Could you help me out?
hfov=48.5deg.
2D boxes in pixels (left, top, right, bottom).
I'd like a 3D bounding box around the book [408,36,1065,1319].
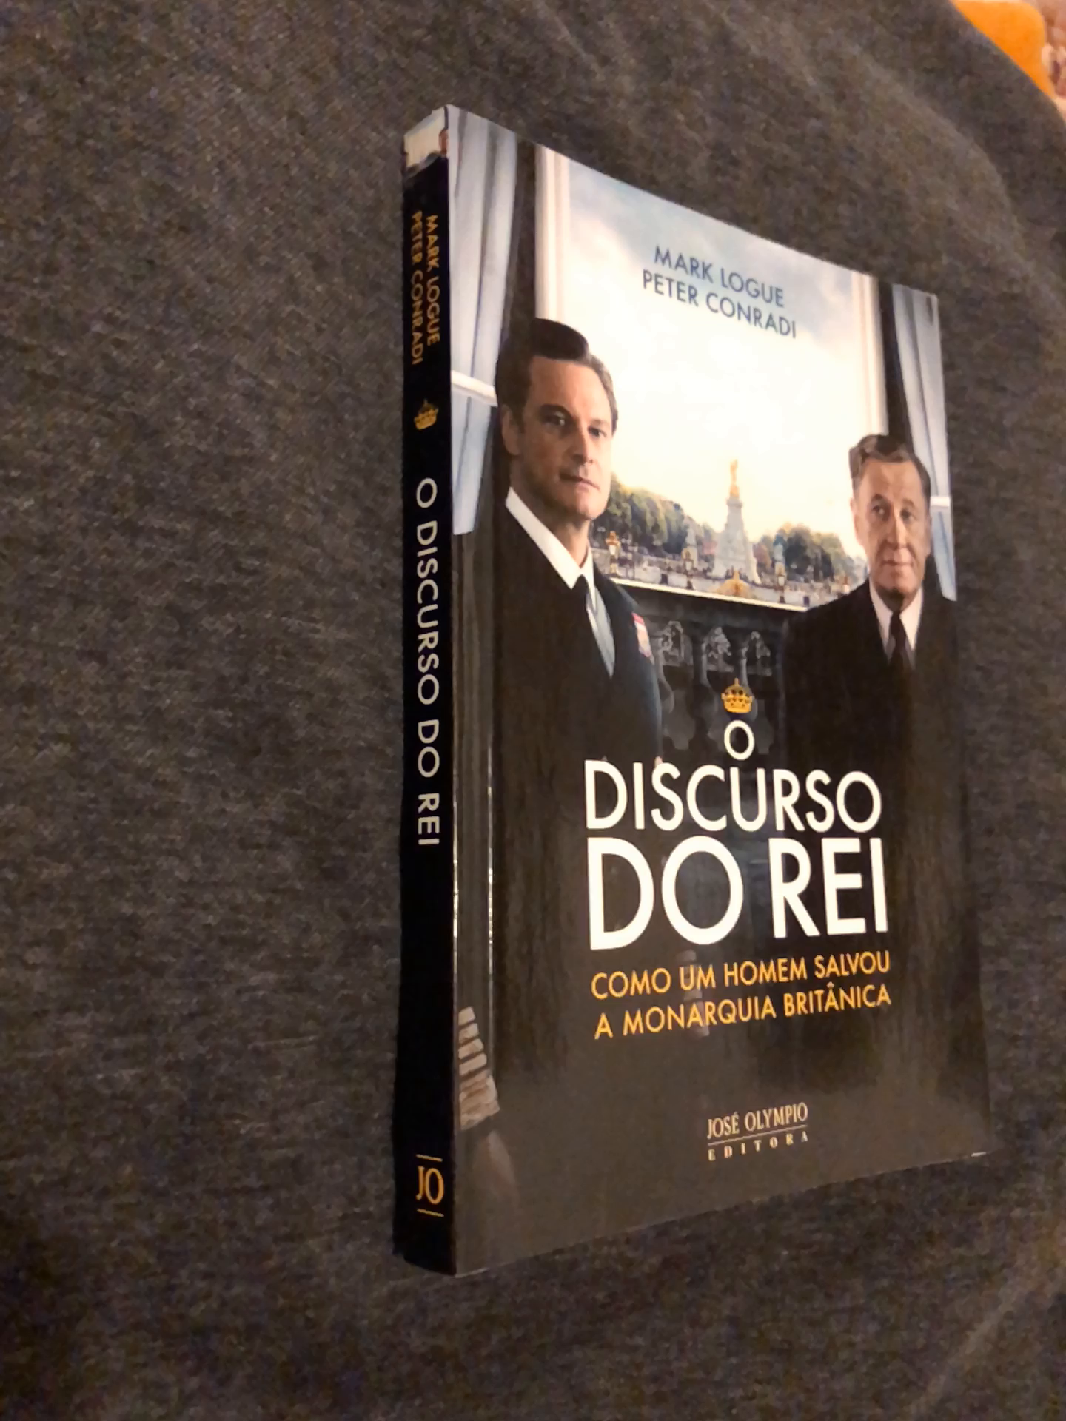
[{"bbox_3d":[0.051,-0.008,0.265,0.161,0.030,0.230,5,79,-34],"label":"book"}]
